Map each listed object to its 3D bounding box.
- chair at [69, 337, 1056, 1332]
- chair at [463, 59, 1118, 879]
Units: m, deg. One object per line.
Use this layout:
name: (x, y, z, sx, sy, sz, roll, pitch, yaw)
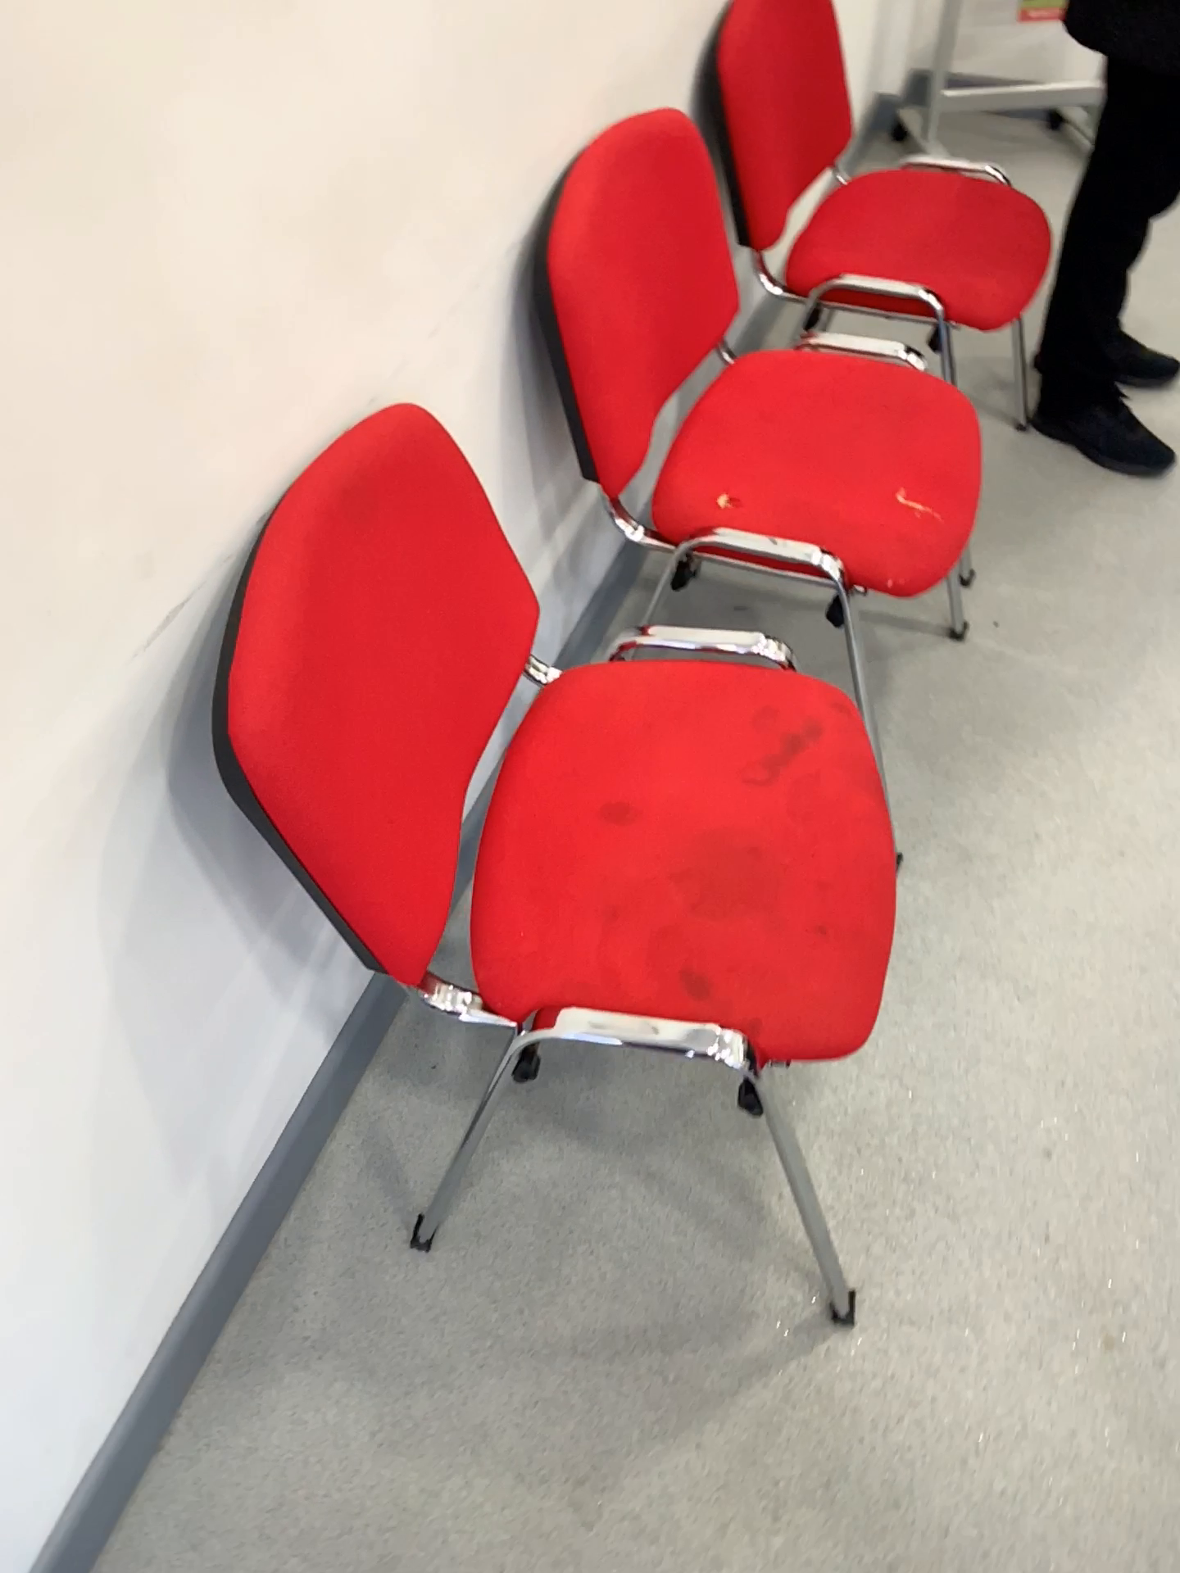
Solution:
chair: (0.024, 0.068, 1.230, 0.628, 0.753, 0.602, 7, 49, 7)
chair: (0.253, -0.413, 1.626, 0.589, 0.793, 0.571, 16, 51, 15)
